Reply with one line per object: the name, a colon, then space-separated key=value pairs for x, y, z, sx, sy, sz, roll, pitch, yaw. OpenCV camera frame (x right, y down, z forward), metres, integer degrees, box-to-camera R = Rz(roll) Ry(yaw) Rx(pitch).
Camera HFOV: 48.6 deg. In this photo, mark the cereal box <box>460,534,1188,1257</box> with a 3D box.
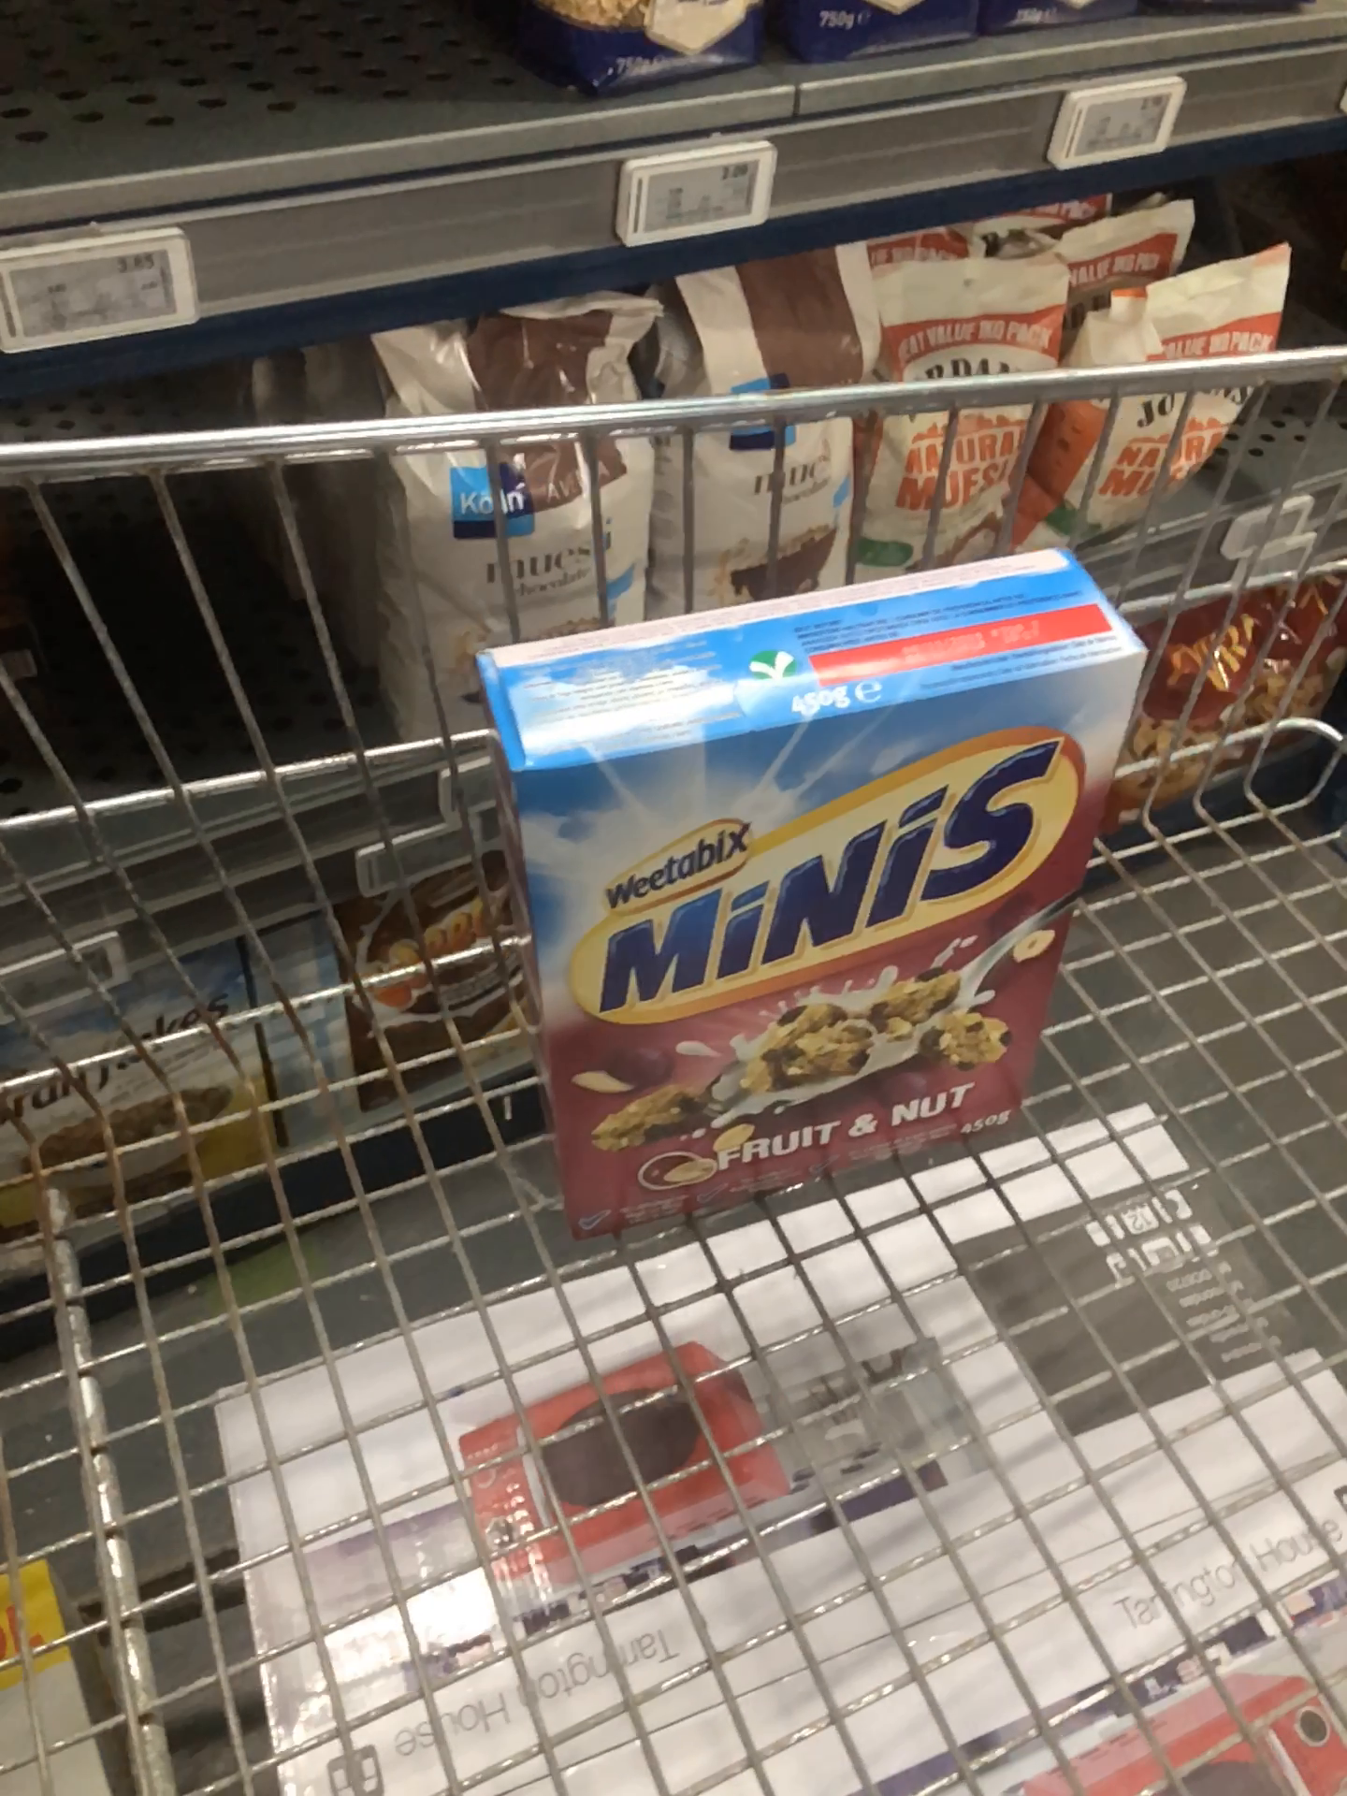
cereal box: x=0.047 y=0.010 z=0.577 sx=0.220 sy=0.259 sz=0.080 roll=-13 pitch=49 yaw=-12
